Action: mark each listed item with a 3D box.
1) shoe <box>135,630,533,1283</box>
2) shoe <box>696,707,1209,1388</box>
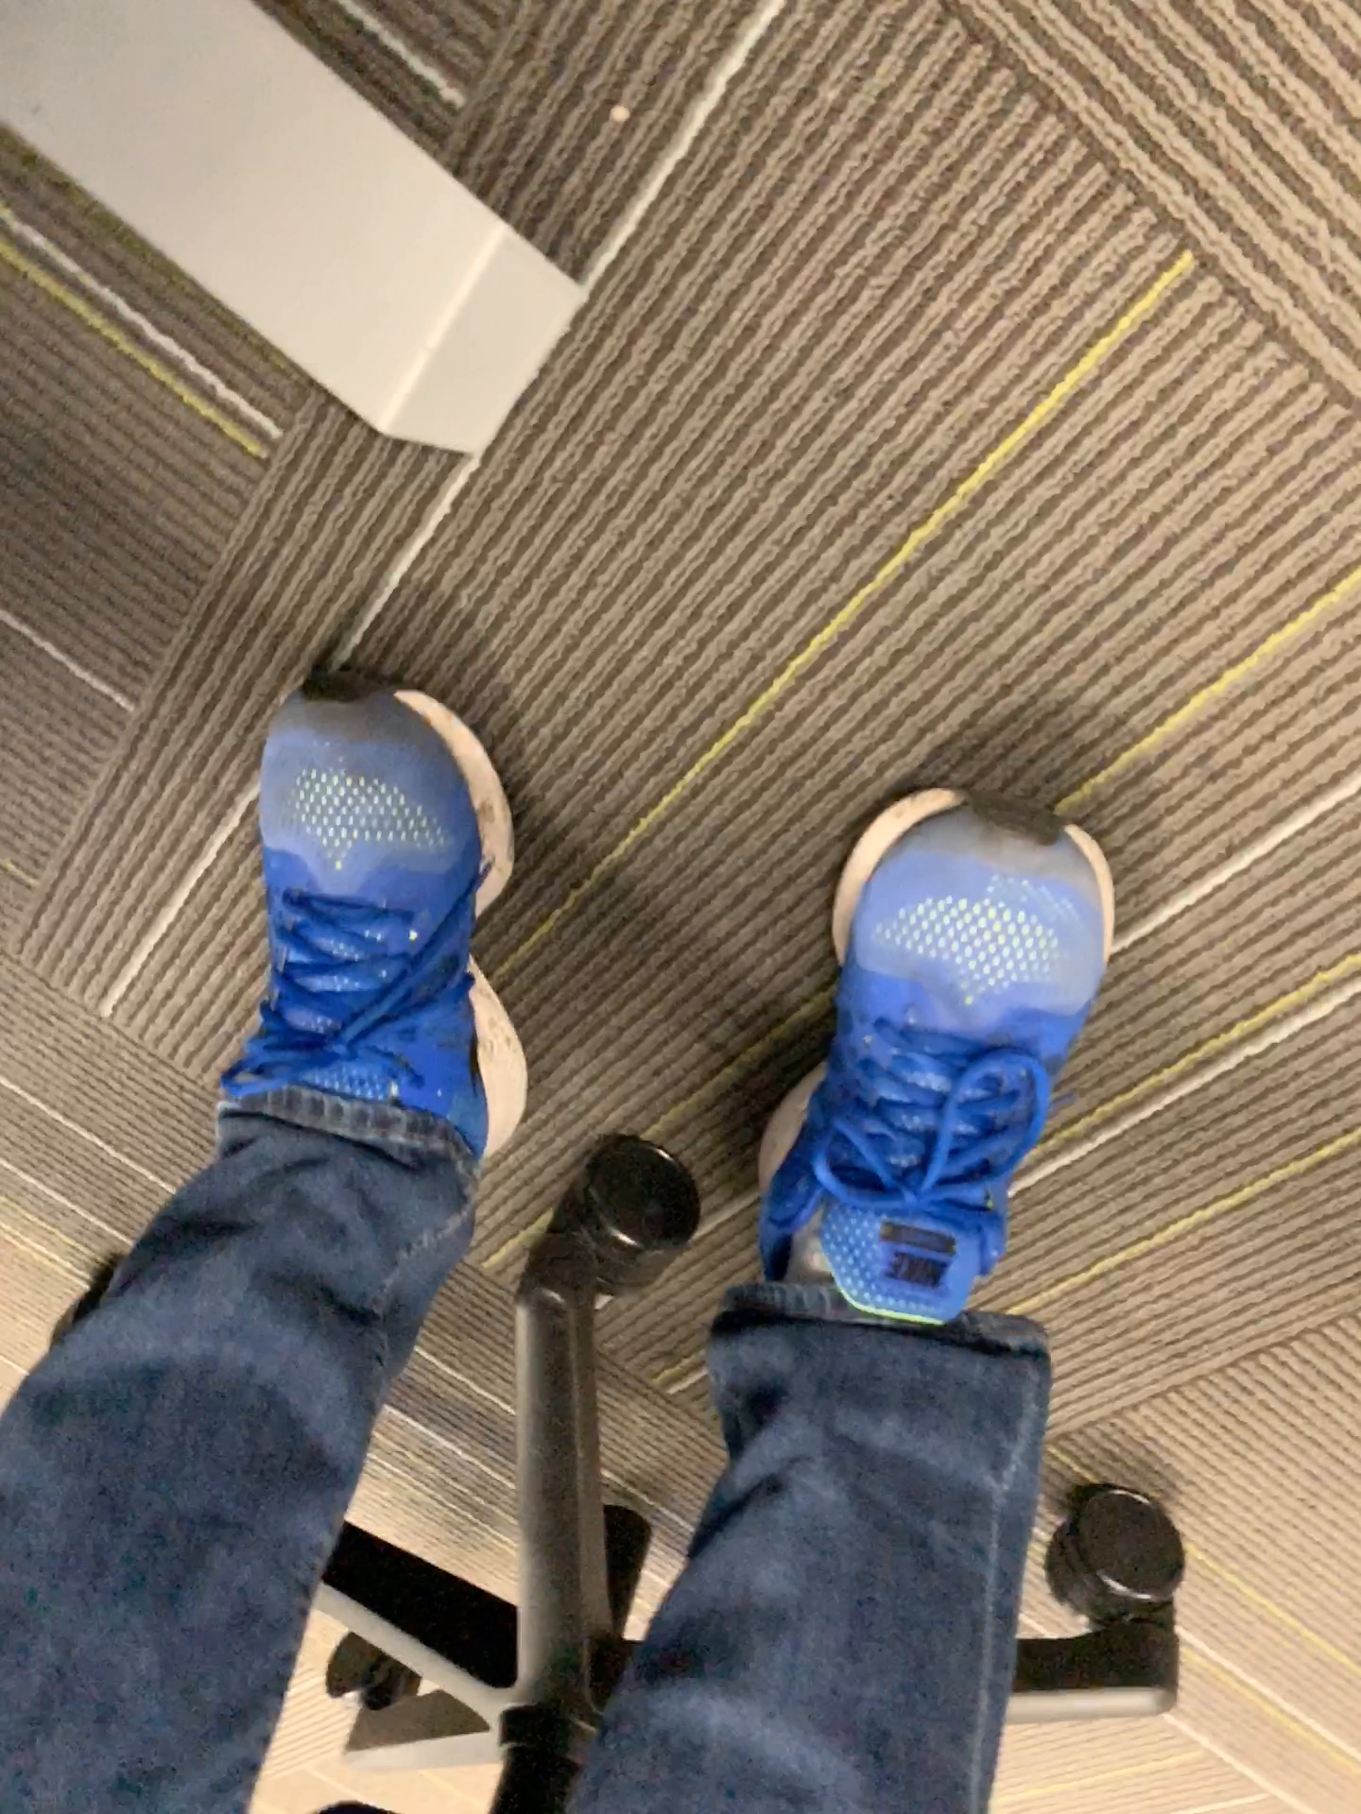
[{"bbox_3d":[-0.137,0.032,0.610,0.116,0.083,0.281,10,128,10],"label":"shoe"},{"bbox_3d":[0.100,0.071,0.579,0.117,0.083,0.281,17,129,4],"label":"shoe"}]
